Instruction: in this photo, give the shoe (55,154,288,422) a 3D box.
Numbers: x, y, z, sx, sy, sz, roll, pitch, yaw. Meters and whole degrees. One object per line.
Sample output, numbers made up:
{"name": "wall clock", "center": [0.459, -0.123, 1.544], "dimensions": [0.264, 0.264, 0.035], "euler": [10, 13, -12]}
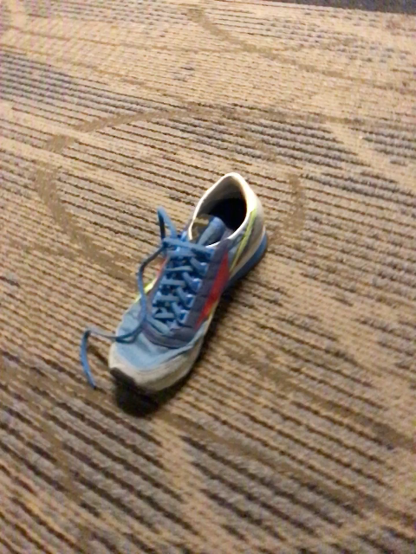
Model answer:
{"name": "shoe", "center": [-0.021, 0.002, 0.478], "dimensions": [0.101, 0.095, 0.260], "euler": [24, 65, 24]}
